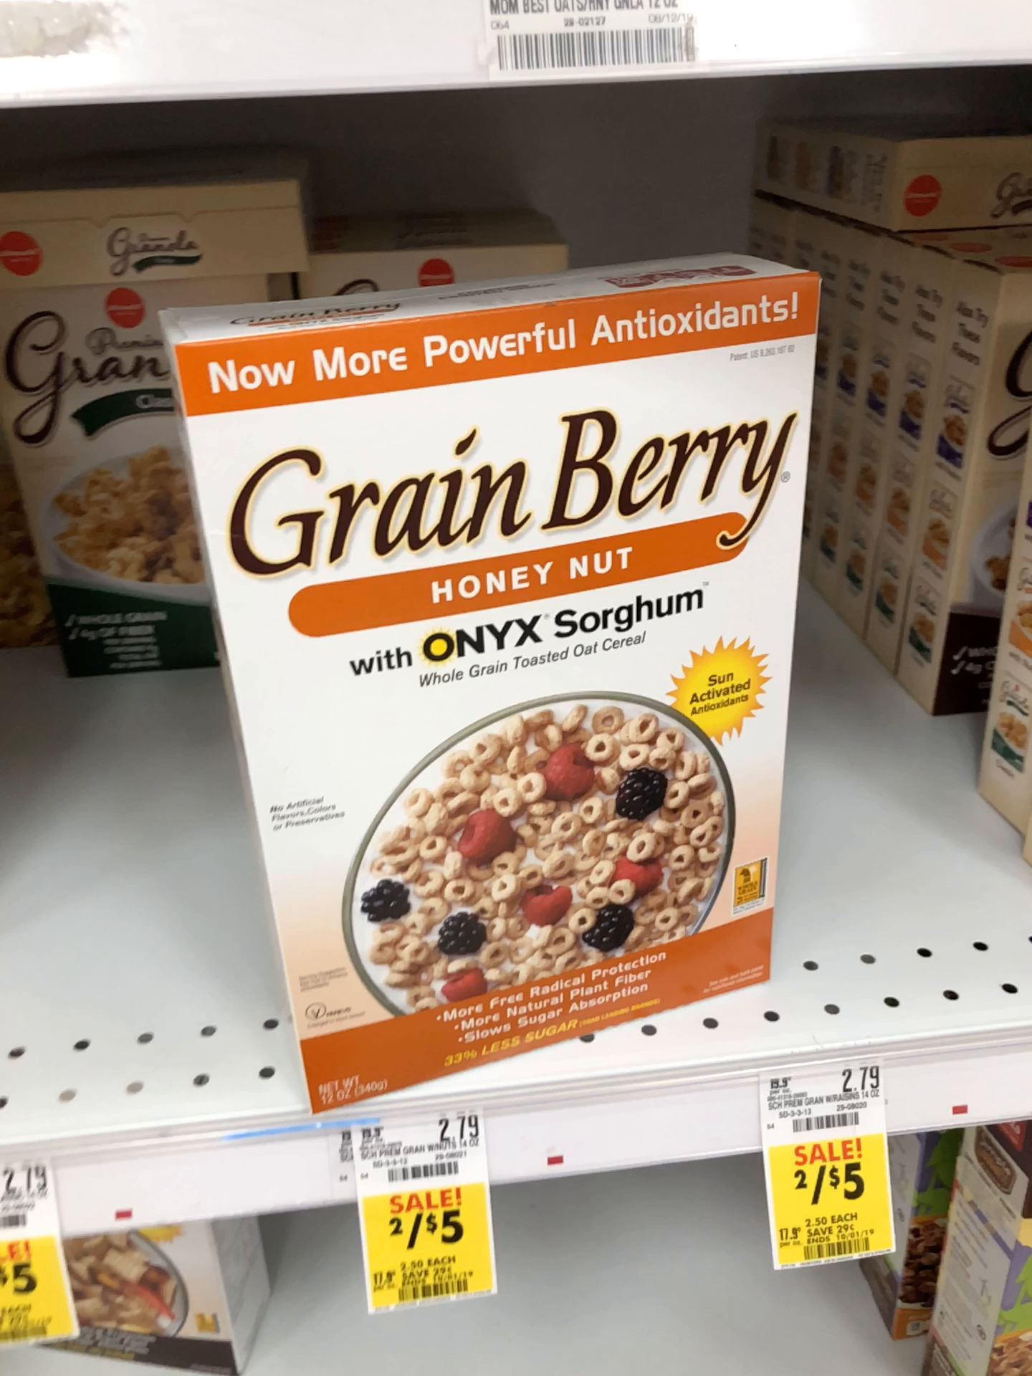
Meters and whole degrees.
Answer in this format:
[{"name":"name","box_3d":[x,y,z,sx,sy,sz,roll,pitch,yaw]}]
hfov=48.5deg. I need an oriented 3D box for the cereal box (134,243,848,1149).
[{"name":"cereal box","box_3d":[-0.002,0.008,0.409,0.200,0.289,0.070,-12,30,-16]}]
